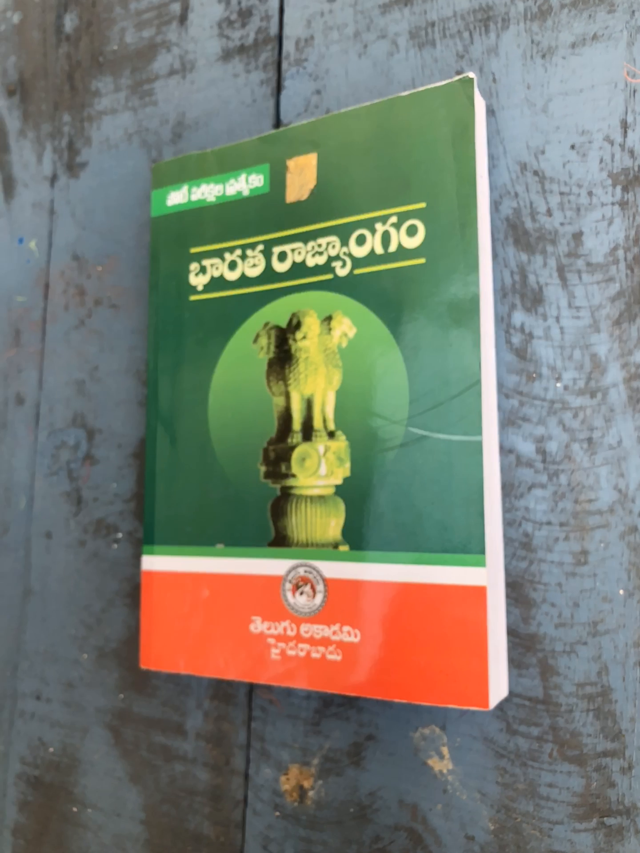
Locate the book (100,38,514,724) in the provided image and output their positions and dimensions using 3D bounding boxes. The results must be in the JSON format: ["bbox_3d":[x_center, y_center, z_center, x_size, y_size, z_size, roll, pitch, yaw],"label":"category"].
[{"bbox_3d":[-0.010,-0.016,0.292,0.160,0.040,0.230,-3,82,27],"label":"book"}]
